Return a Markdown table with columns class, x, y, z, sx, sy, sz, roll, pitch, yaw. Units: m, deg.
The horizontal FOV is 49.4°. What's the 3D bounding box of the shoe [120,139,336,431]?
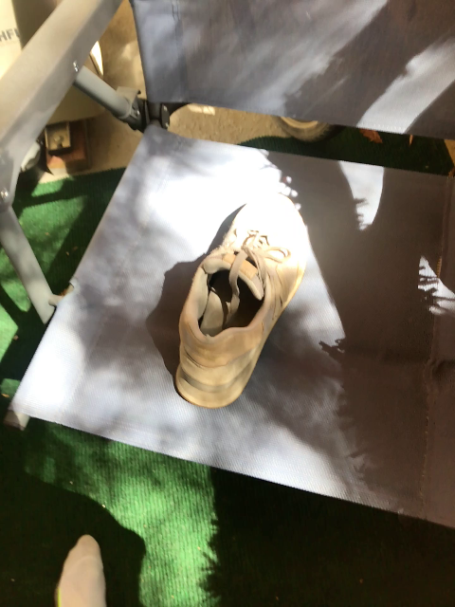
| class | x | y | z | sx | sy | sz | roll | pitch | yaw |
| --- | --- | --- | --- | --- | --- | --- | --- | --- | --- |
| shoe | 0.013 | -0.022 | 0.558 | 0.124 | 0.104 | 0.287 | 19 | 74 | 14 |
